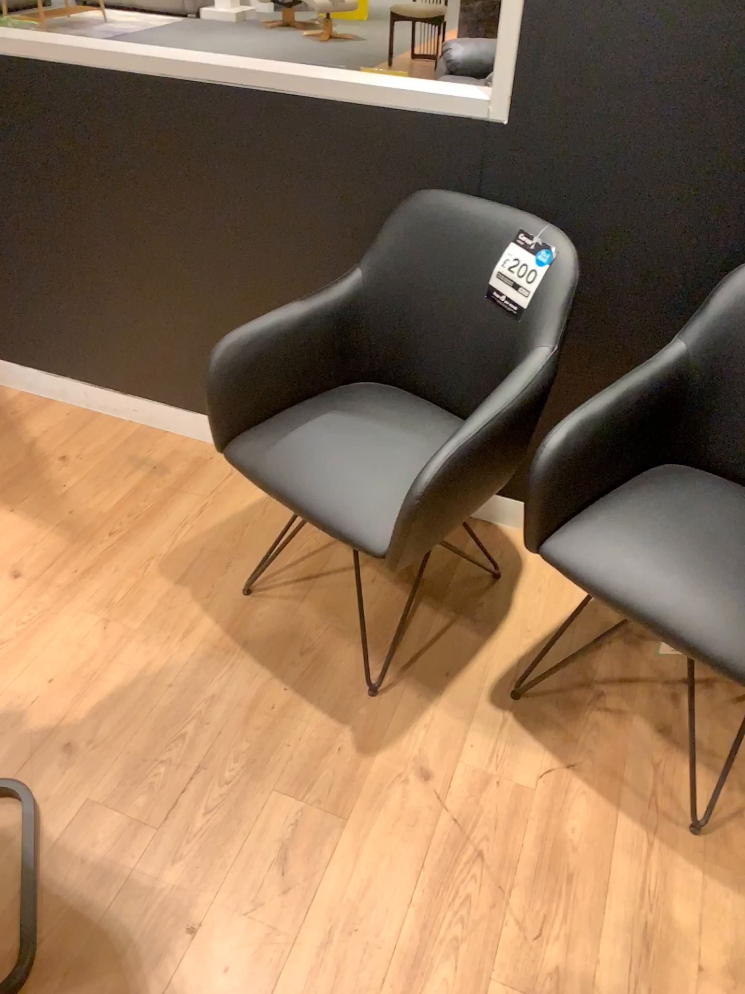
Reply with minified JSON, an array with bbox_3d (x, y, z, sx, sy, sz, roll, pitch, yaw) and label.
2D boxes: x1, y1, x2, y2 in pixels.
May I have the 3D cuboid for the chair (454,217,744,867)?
[{"bbox_3d":[0.589,0.059,1.373,0.565,0.836,0.594,29,46,29],"label":"chair"}]

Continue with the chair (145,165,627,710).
[{"bbox_3d":[0.017,-0.154,1.571,0.606,0.776,0.594,32,48,31],"label":"chair"}]
